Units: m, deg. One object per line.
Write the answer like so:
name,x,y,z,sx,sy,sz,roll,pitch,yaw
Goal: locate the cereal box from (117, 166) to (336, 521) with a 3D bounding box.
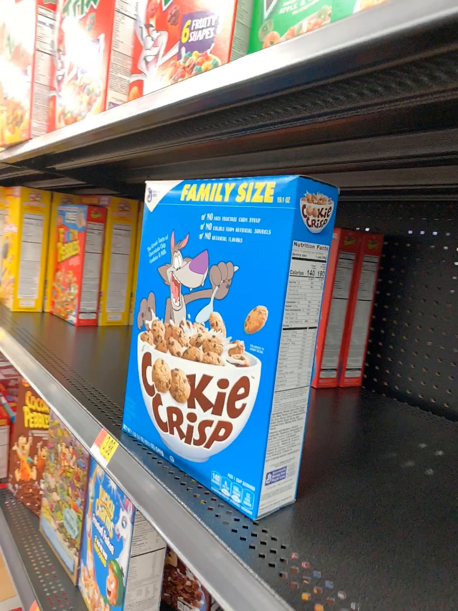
cereal box,-0.023,0.021,0.554,0.070,0.339,0.250,0,9,-43
